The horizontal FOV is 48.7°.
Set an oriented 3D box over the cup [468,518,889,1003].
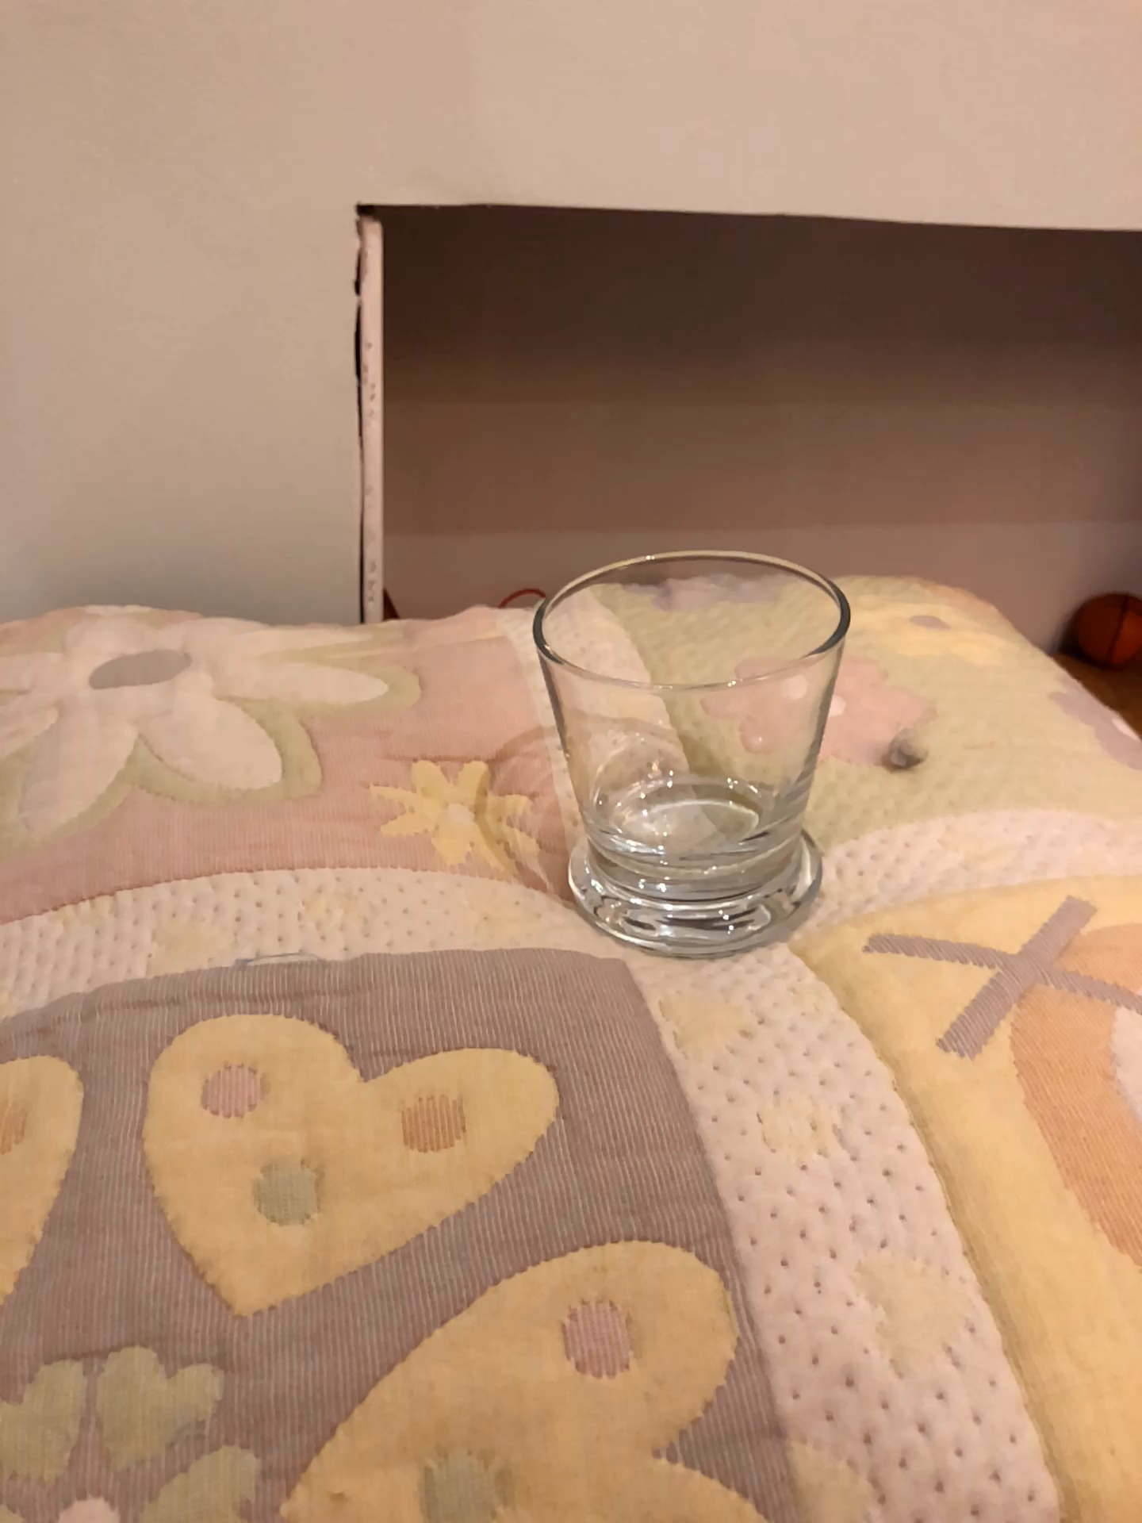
[{"bbox_3d":[0.026,-0.005,0.341,0.080,0.089,0.080,-3,29,2],"label":"cup"}]
